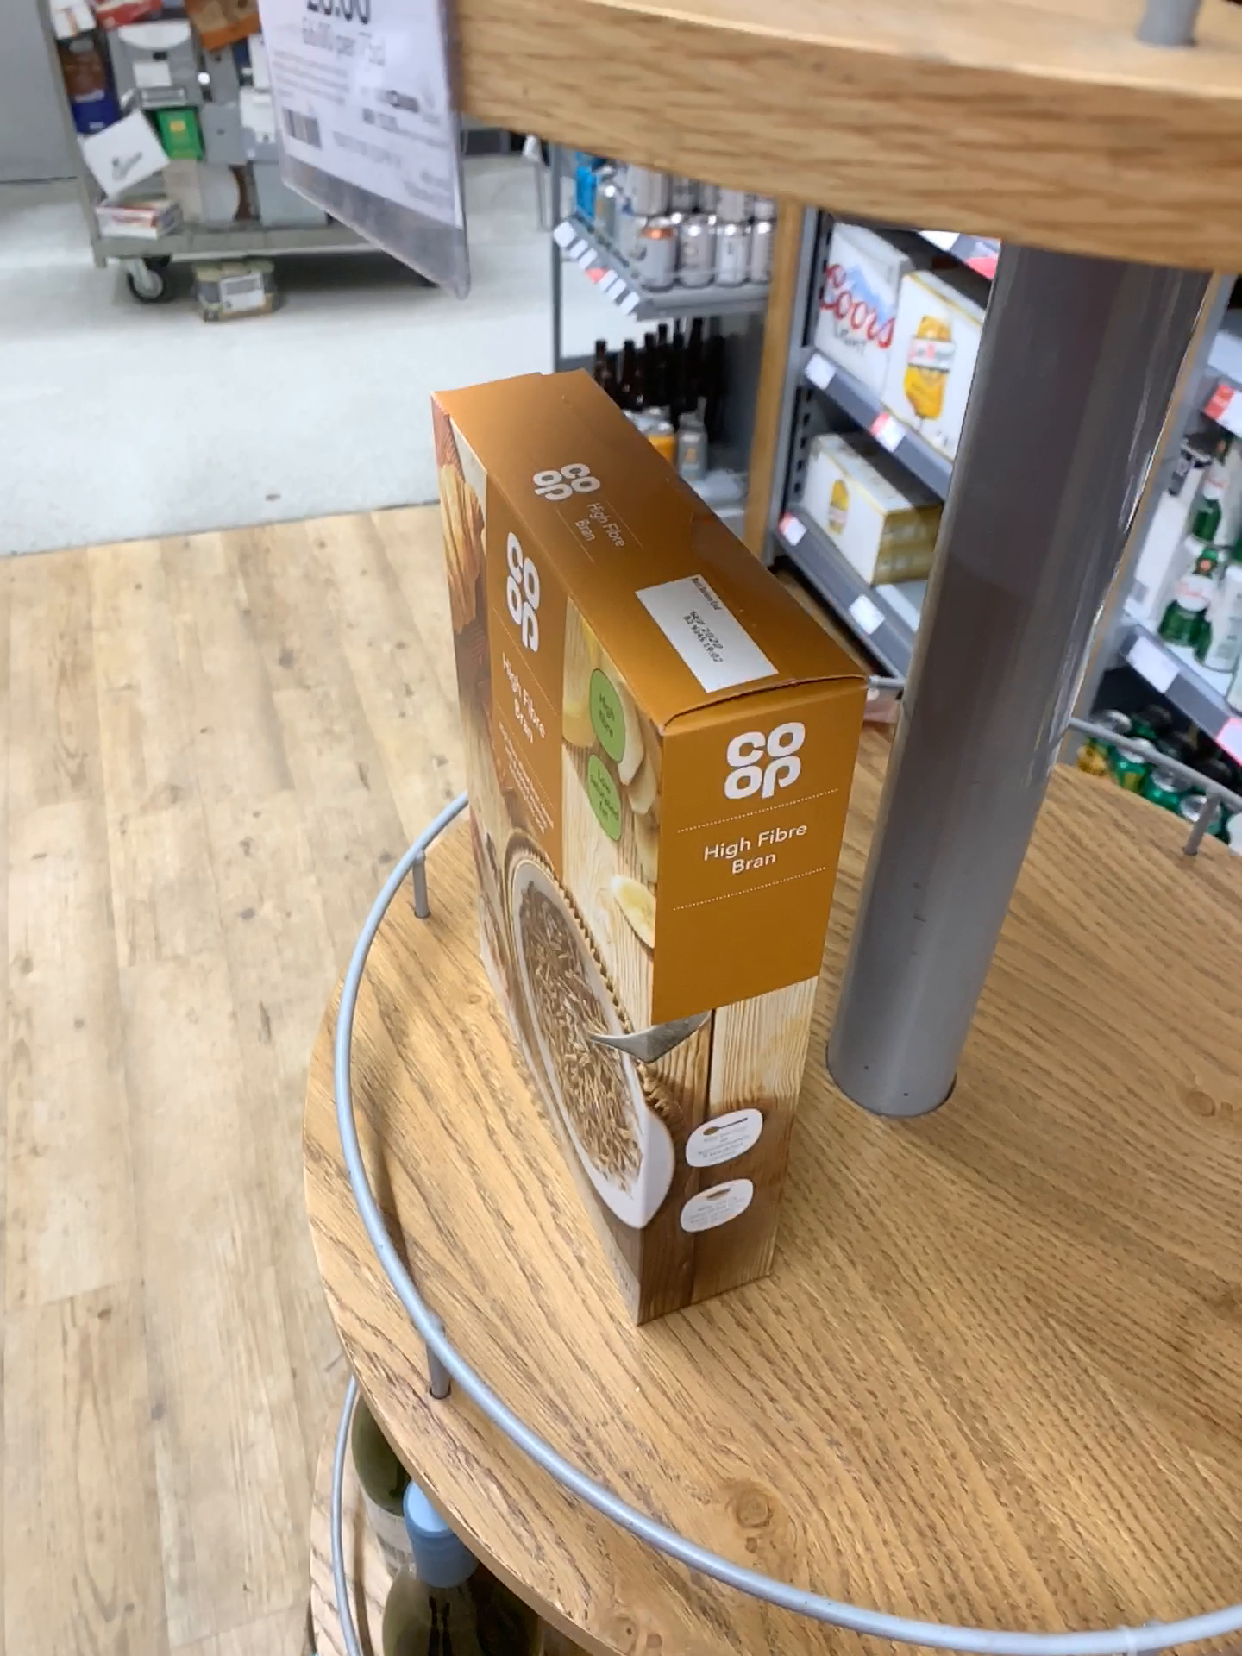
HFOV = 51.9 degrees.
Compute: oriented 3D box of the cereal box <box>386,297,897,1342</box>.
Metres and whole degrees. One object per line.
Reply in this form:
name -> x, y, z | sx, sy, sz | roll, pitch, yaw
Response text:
cereal box -> -0.009, 0.003, 0.424 | 0.060, 0.277, 0.202 | -14, 44, -17
